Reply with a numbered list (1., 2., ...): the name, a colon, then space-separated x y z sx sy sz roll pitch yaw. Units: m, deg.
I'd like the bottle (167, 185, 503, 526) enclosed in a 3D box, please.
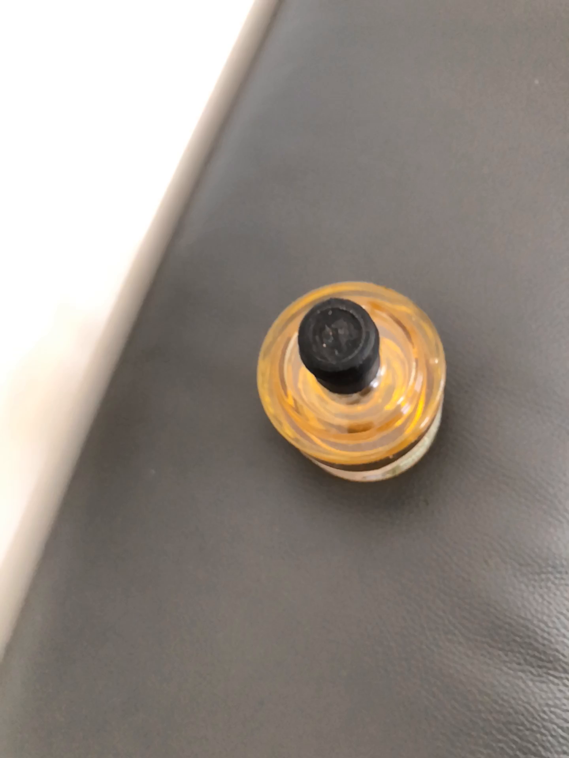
1. bottle: 0.029 0.000 0.295 0.090 0.130 0.090 -3 72 11
